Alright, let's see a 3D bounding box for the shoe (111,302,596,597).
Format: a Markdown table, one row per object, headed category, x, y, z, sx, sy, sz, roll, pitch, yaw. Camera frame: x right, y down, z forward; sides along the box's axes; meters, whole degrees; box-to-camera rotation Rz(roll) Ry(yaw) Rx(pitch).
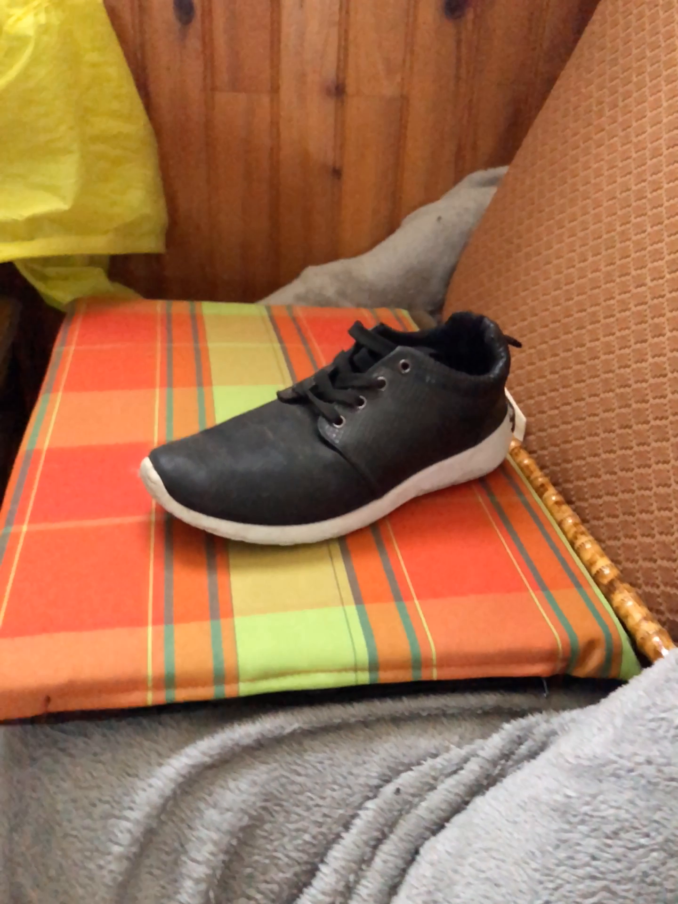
| category | x | y | z | sx | sy | sz | roll | pitch | yaw |
| --- | --- | --- | --- | --- | --- | --- | --- | --- | --- |
| shoe | 0.014 | -0.018 | 0.458 | 0.268 | 0.080 | 0.110 | -15 | 35 | -29 |
